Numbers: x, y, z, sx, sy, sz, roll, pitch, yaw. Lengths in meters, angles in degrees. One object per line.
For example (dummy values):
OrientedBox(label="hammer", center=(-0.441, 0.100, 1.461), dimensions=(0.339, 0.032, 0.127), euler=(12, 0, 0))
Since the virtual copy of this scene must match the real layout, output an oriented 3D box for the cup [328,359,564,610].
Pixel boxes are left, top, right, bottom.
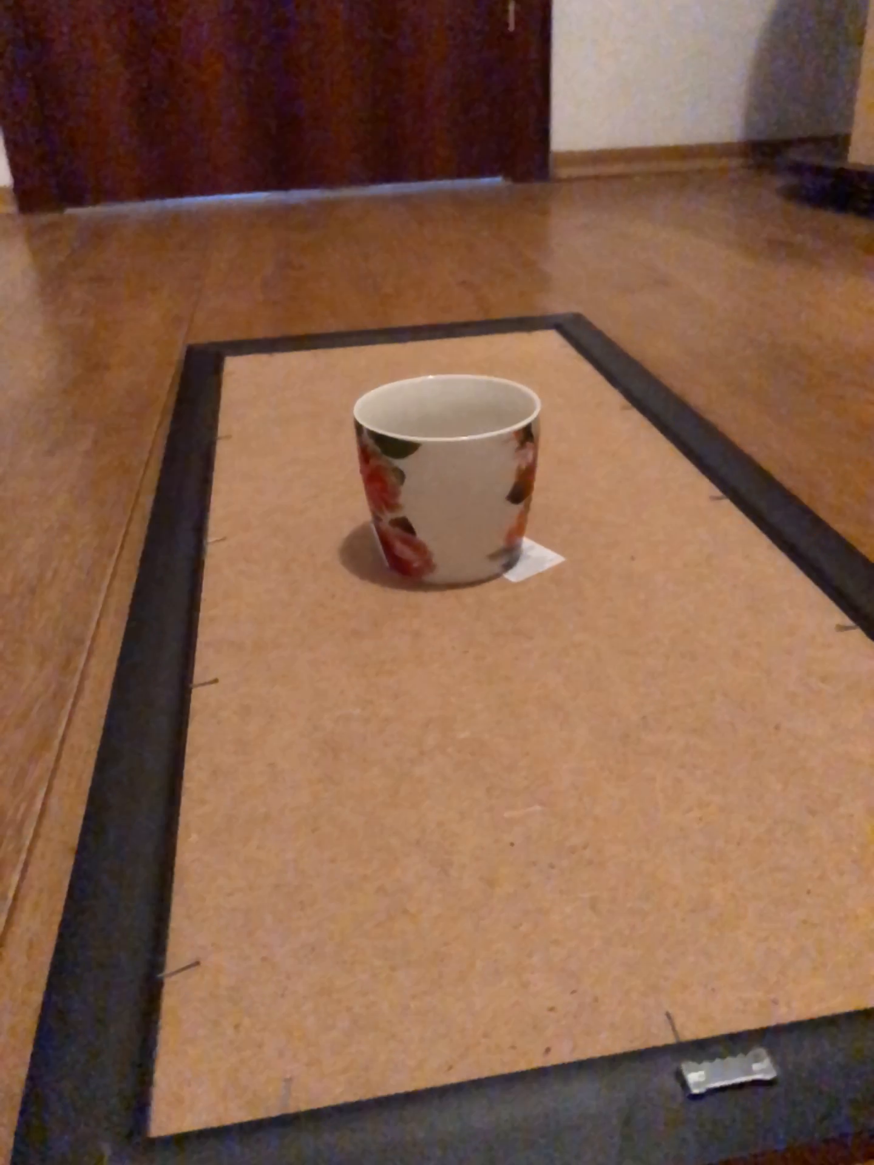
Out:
OrientedBox(label="cup", center=(0.001, -0.057, 0.504), dimensions=(0.098, 0.079, 0.122), euler=(-7, 29, -8))
